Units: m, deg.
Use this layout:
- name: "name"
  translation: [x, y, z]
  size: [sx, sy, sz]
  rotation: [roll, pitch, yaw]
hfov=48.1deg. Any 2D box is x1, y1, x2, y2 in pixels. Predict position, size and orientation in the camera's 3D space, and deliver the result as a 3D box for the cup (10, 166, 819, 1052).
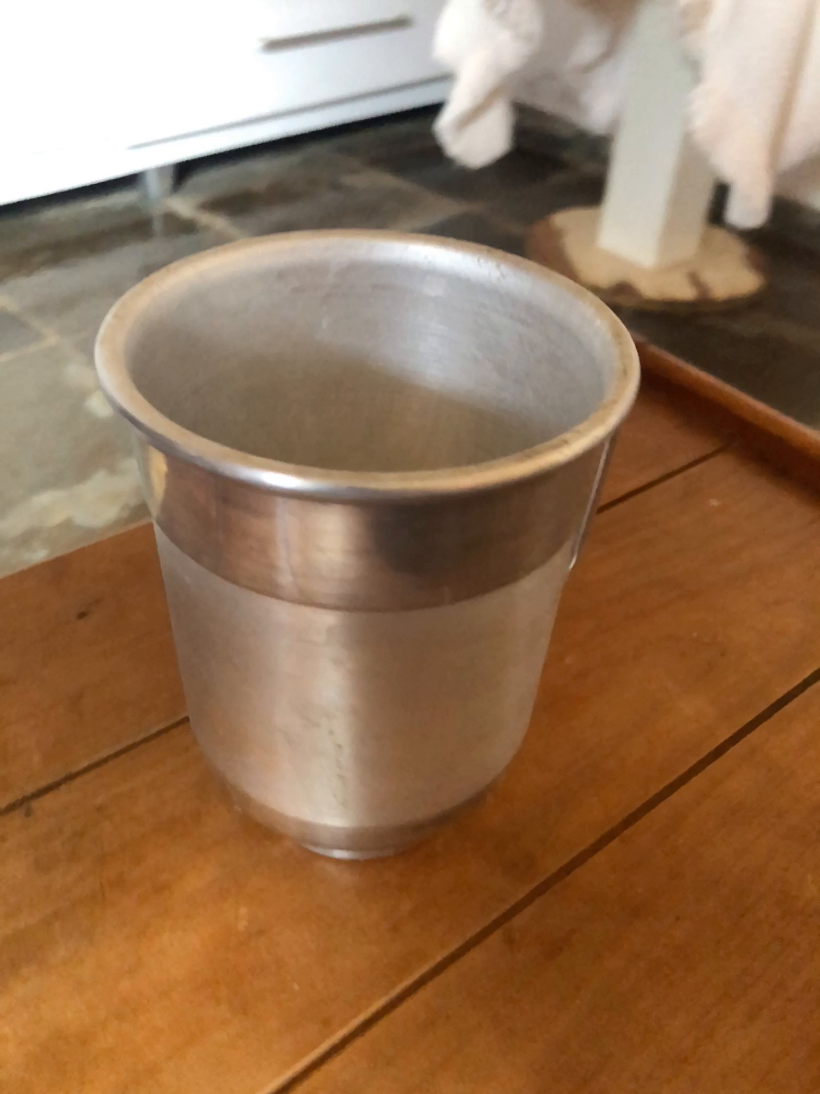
- name: "cup"
  translation: [0.003, 0.005, 0.206]
  size: [0.120, 0.129, 0.100]
  rotation: [-24, 47, -29]
